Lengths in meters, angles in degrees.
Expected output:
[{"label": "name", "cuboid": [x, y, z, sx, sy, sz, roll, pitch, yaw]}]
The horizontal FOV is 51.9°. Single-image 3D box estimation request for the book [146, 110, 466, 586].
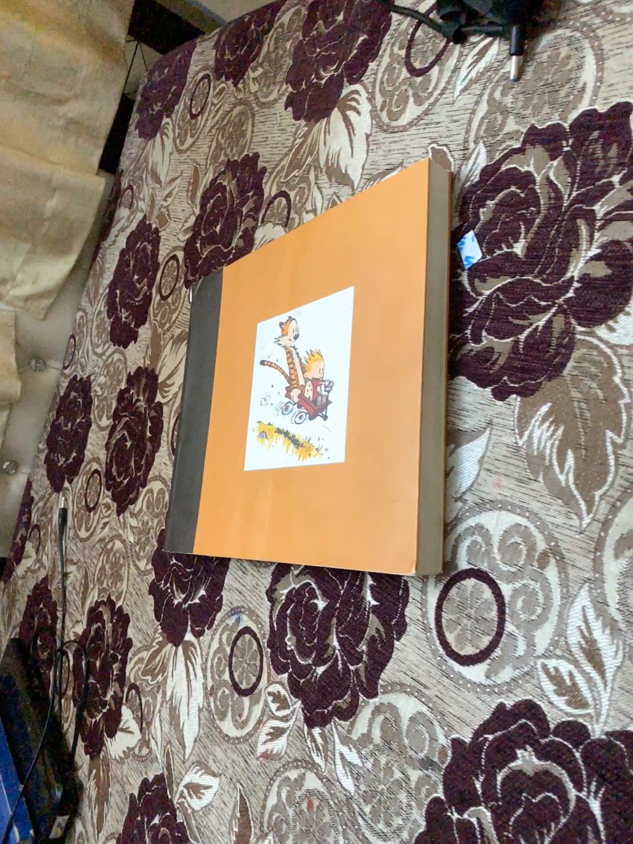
[{"label": "book", "cuboid": [-0.023, -0.031, 0.455, 0.272, 0.040, 0.260, -10, 71, 50]}]
